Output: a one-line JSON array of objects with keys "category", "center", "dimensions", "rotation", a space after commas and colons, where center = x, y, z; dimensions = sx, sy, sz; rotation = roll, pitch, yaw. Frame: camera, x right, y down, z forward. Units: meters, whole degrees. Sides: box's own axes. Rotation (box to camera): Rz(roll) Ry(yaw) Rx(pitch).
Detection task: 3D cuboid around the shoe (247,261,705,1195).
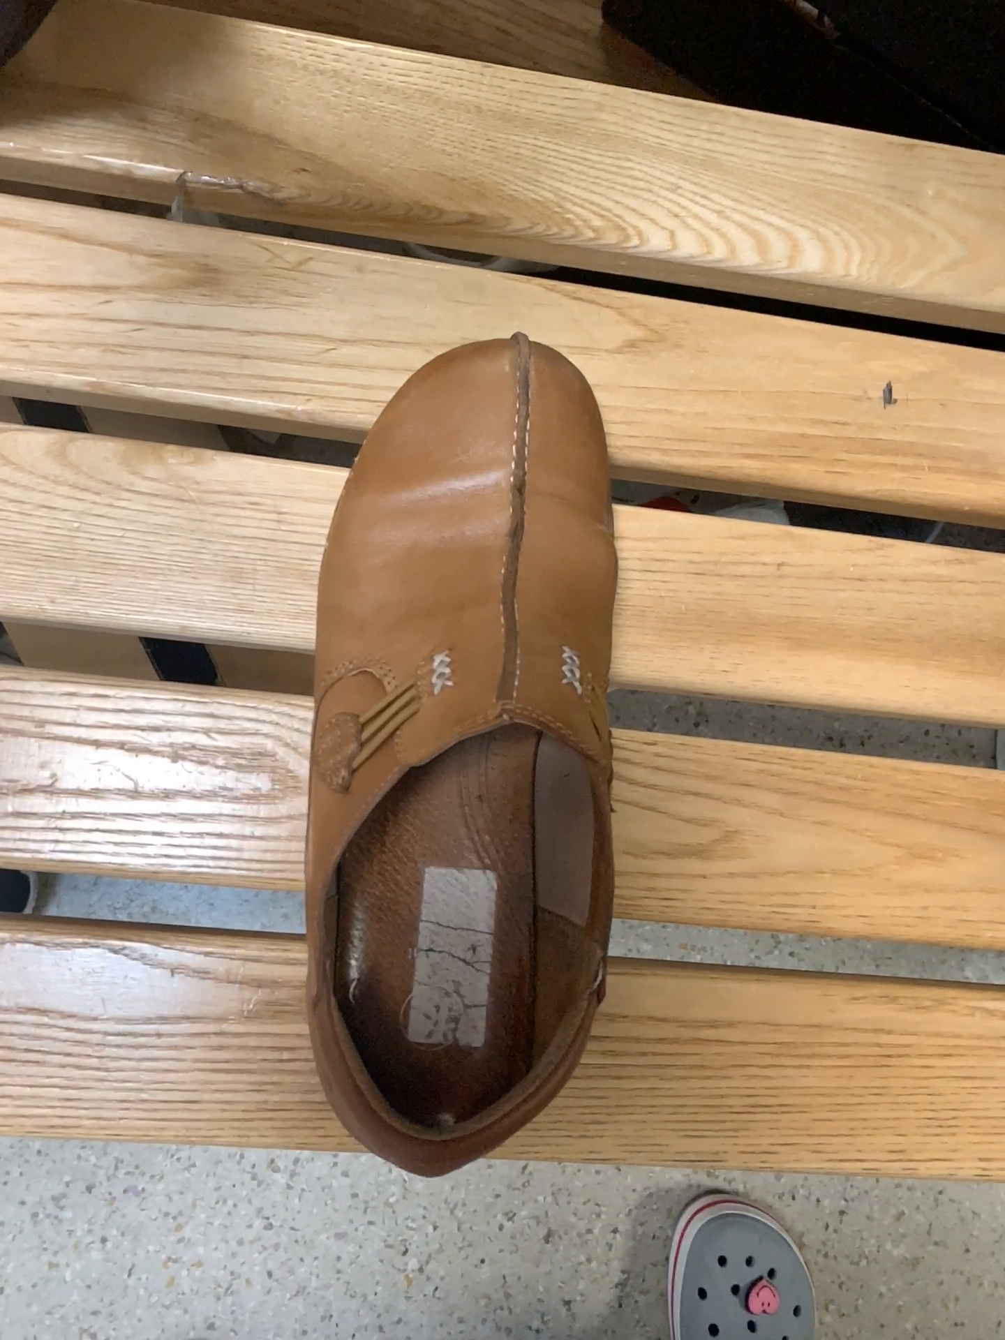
[{"category": "shoe", "center": [-0.008, 0.017, 0.318], "dimensions": [0.111, 0.085, 0.245], "rotation": [3, 84, -7]}]
